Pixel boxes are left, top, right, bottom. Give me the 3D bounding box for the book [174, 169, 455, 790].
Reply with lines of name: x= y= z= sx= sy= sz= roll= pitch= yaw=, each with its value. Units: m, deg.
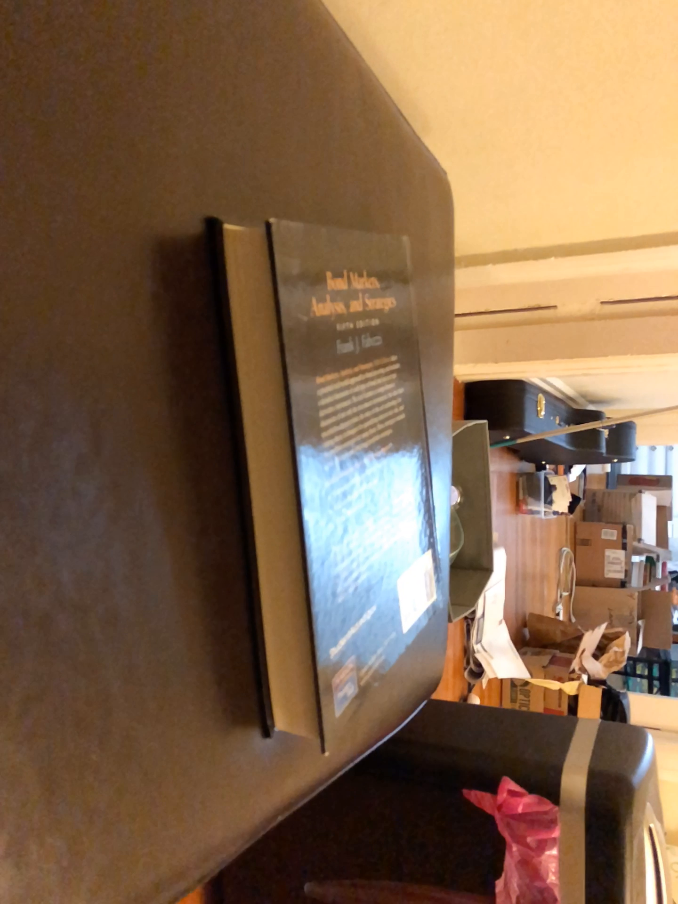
book: x=0.007 y=0.000 z=0.398 sx=0.201 sy=0.040 sz=0.260 roll=-27 pitch=114 yaw=-62
